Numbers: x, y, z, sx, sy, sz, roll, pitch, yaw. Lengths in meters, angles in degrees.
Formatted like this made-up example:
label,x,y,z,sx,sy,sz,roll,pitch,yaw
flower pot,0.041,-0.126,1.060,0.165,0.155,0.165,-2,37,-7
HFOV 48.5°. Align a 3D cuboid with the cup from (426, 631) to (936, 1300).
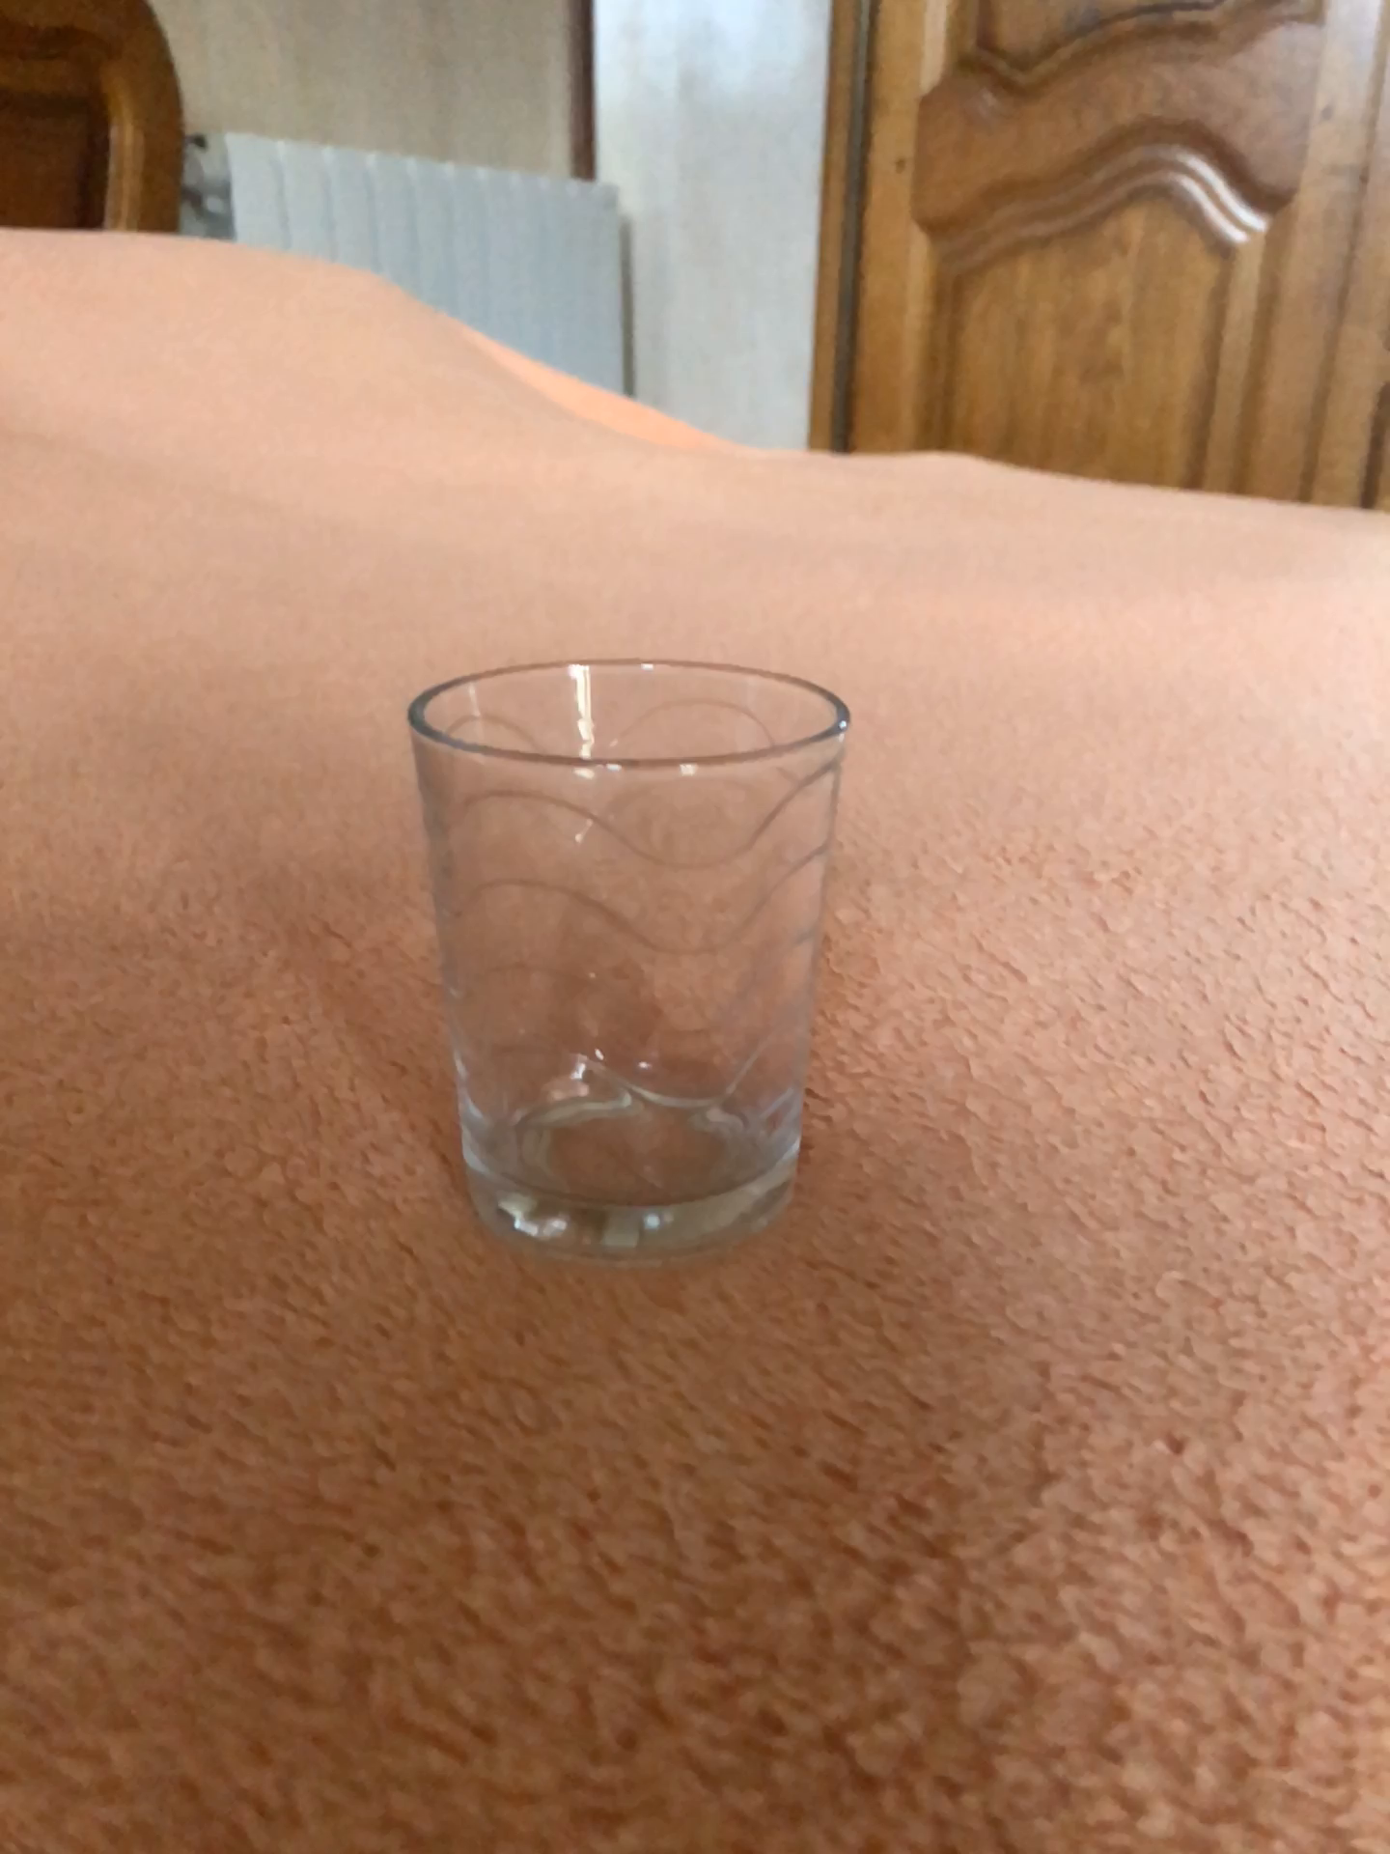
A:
label,x,y,z,sx,sy,sz,roll,pitch,yaw
cup,-0.006,0.001,0.235,0.060,0.080,0.060,1,21,0
